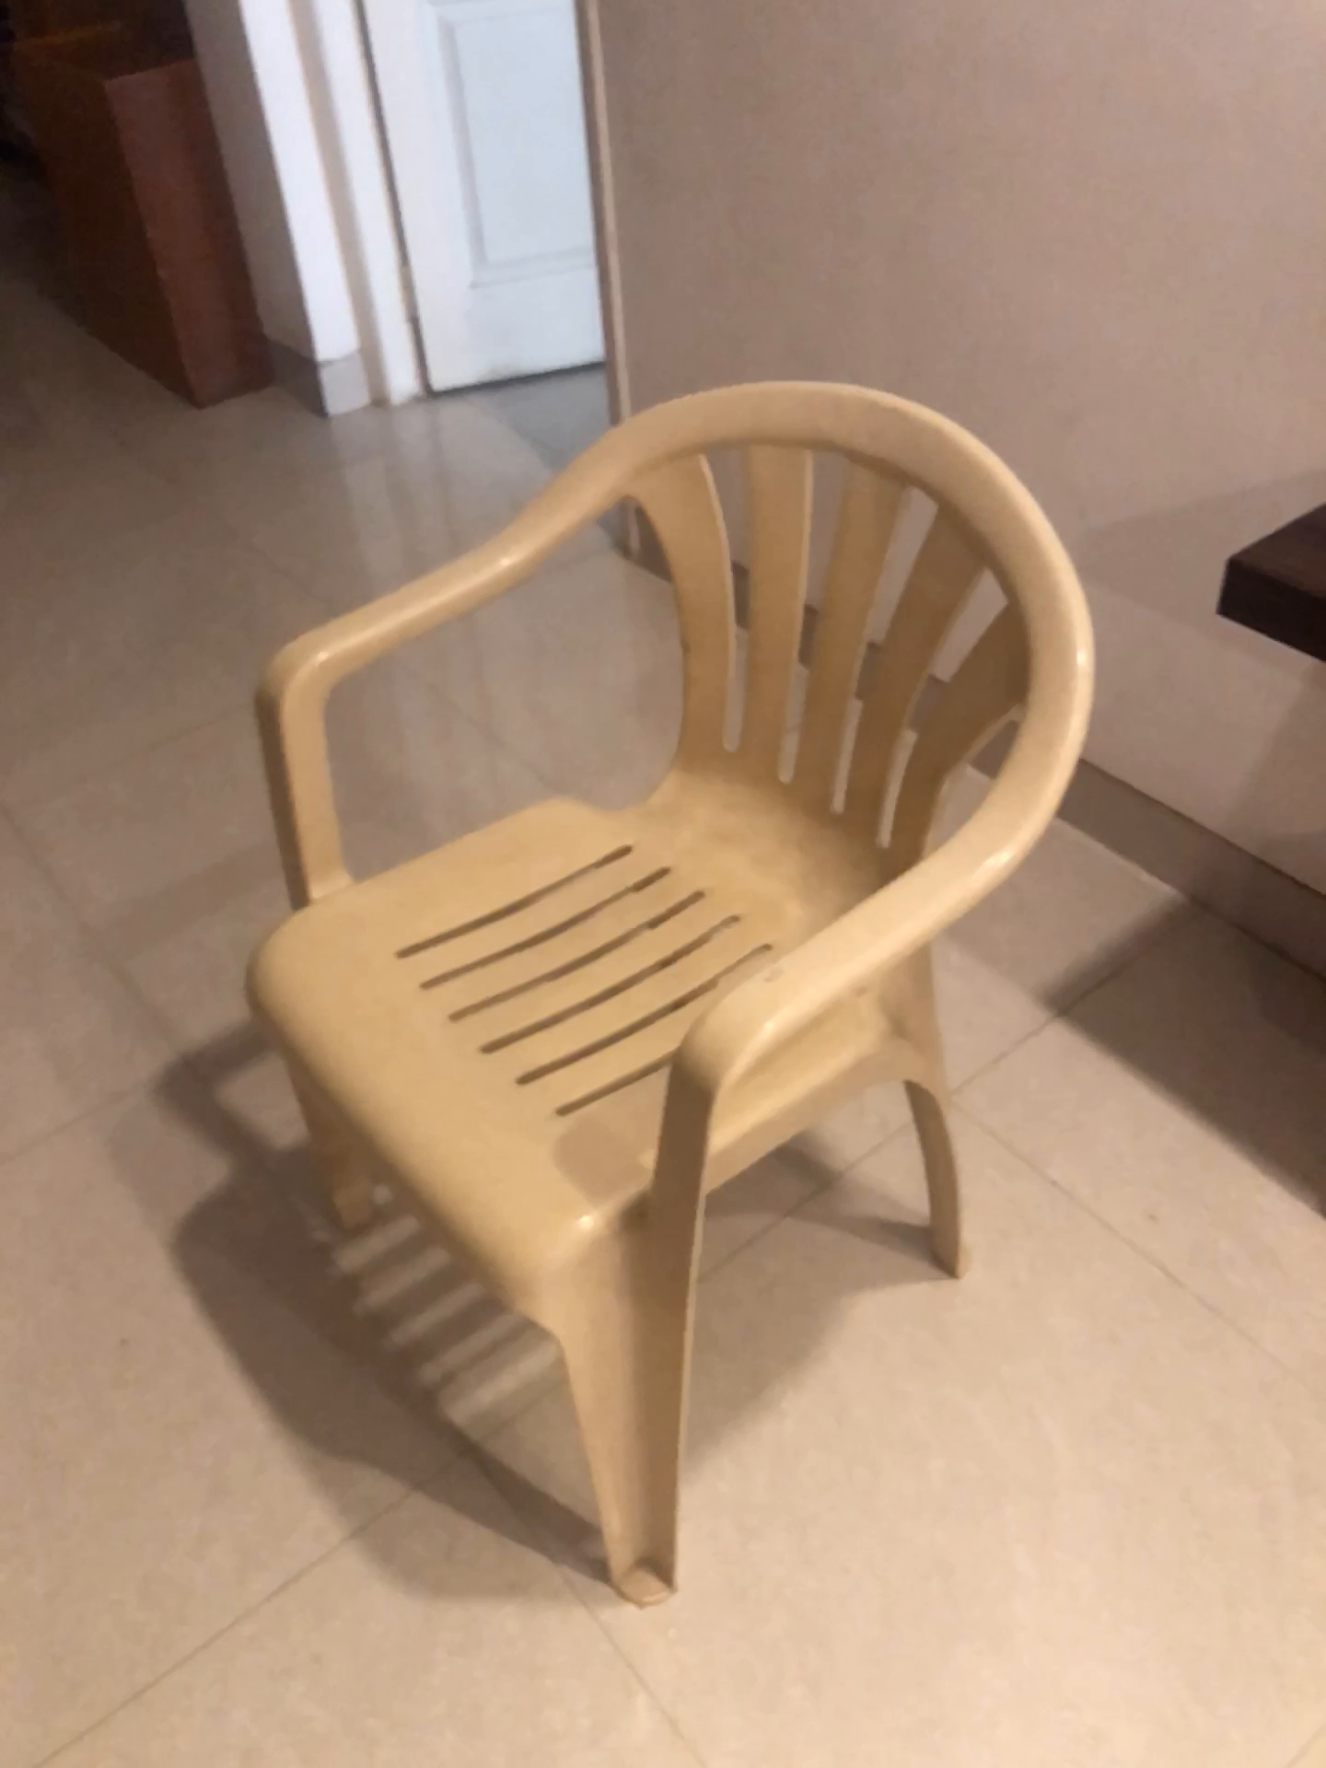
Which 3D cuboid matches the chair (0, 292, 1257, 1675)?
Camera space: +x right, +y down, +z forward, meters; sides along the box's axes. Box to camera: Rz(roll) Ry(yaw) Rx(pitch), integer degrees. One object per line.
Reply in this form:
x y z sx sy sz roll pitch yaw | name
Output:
-0.015 0.059 1.206 0.592 0.774 0.573 -31 47 -26 | chair
